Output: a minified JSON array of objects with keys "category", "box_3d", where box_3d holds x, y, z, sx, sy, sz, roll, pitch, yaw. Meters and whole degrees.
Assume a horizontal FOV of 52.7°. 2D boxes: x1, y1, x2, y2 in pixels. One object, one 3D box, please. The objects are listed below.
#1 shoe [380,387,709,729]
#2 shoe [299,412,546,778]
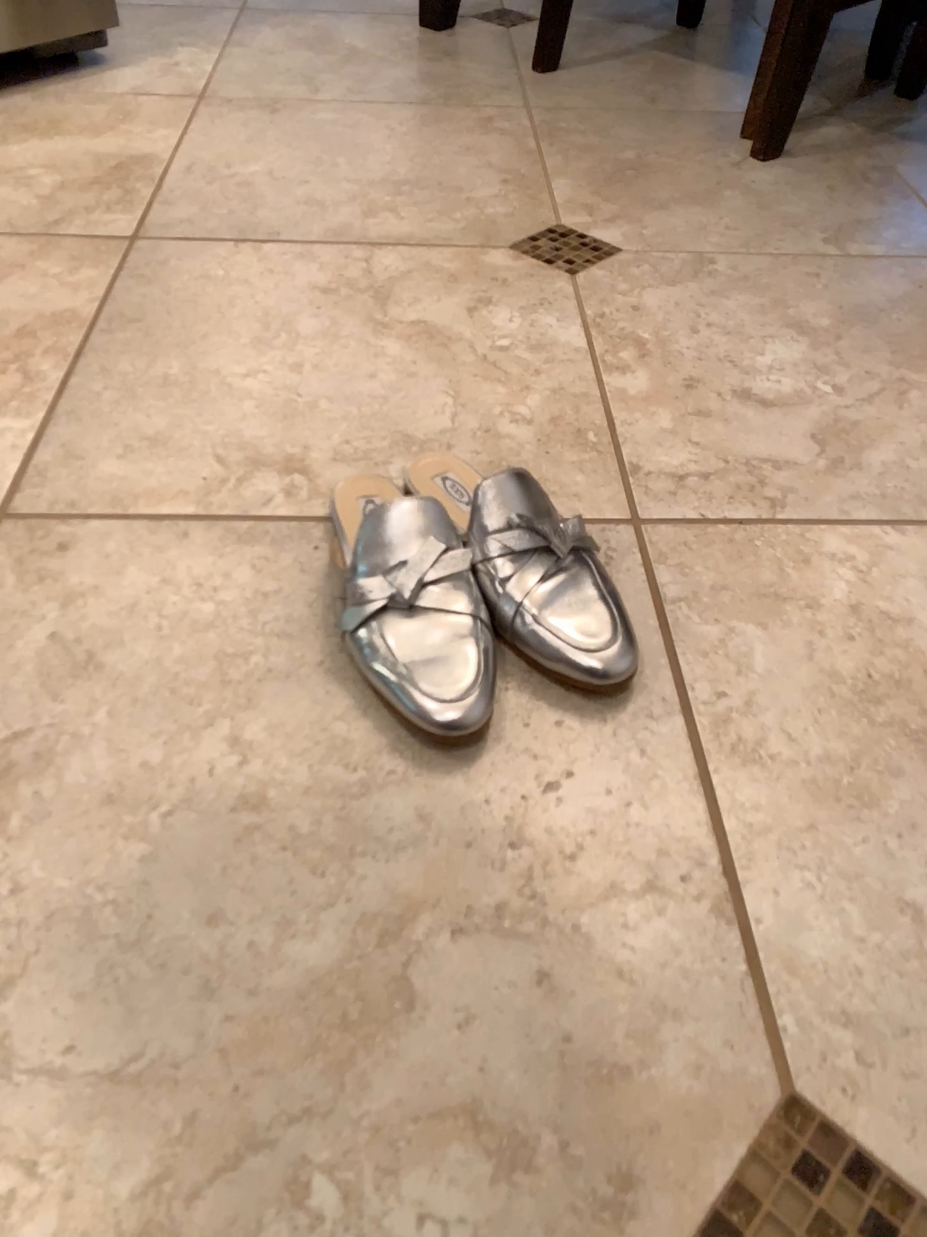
[{"category":"shoe","box_3d":[0.044,-0.058,0.688,0.092,0.077,0.281,-21,50,-23]},{"category":"shoe","box_3d":[-0.040,-0.032,0.664,0.101,0.077,0.278,-10,47,-13]}]
